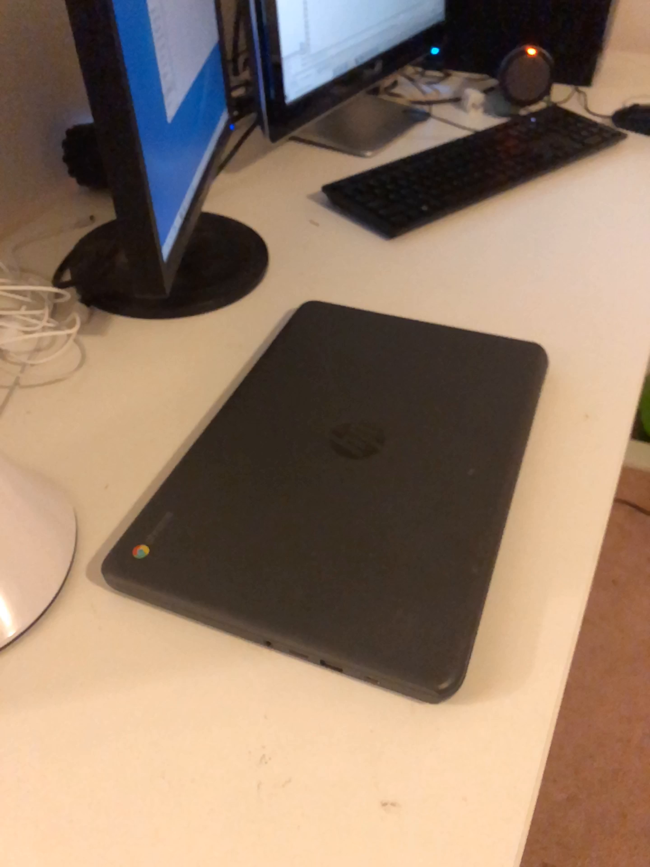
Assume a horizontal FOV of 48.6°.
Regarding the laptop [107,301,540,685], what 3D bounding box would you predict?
[{"bbox_3d":[0.025,0.006,0.520,0.208,0.001,0.327,14,44,15],"label":"laptop"}]
